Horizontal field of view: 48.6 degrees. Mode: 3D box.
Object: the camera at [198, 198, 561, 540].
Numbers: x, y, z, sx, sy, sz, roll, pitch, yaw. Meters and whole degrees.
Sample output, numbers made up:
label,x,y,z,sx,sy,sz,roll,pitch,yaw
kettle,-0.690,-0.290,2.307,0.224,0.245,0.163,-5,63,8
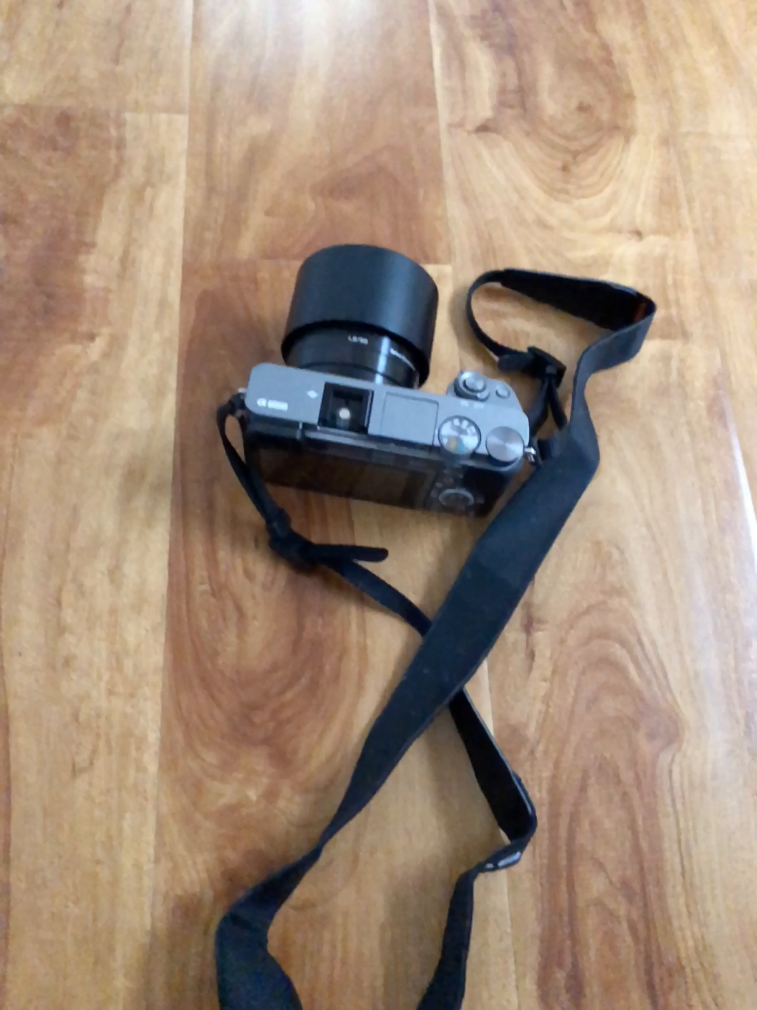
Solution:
label,x,y,z,sx,sy,sz,roll,pitch,yaw
camera,0.002,-0.060,0.390,0.140,0.080,0.110,10,67,-2
